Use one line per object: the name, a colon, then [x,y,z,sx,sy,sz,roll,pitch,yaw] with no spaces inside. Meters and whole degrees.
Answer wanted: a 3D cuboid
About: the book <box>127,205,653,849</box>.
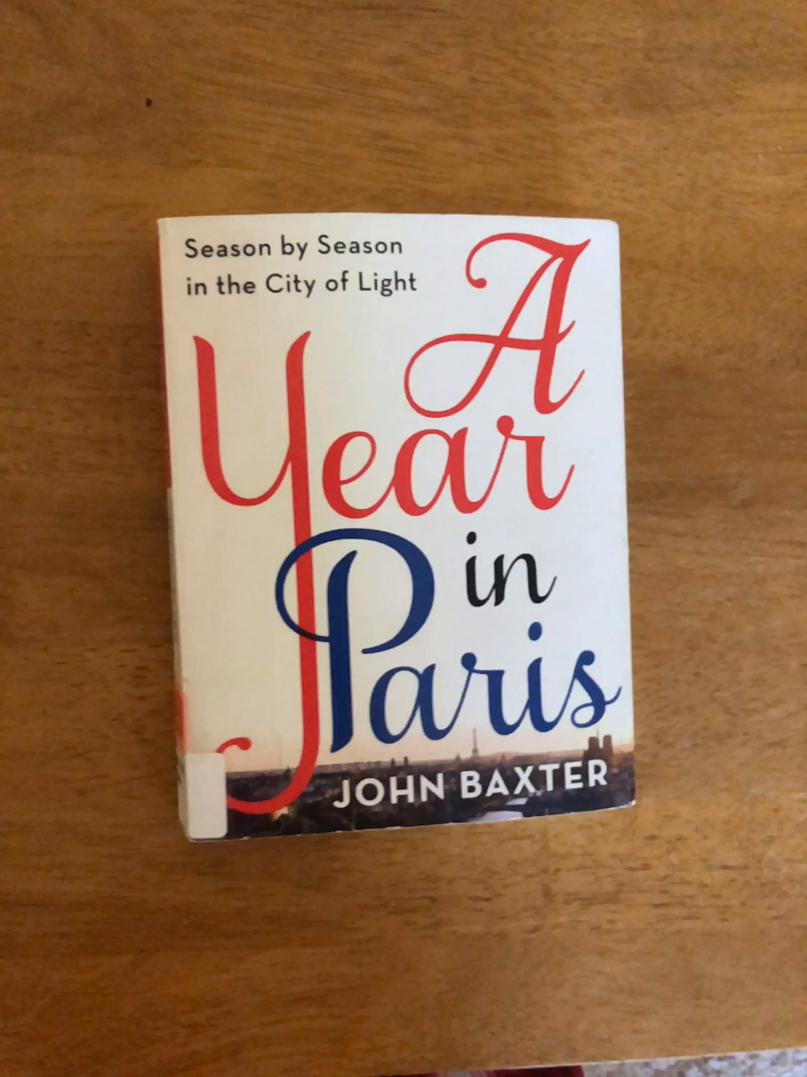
book: [-0.003,-0.006,0.286,0.150,0.040,0.182,-3,92,-9]
